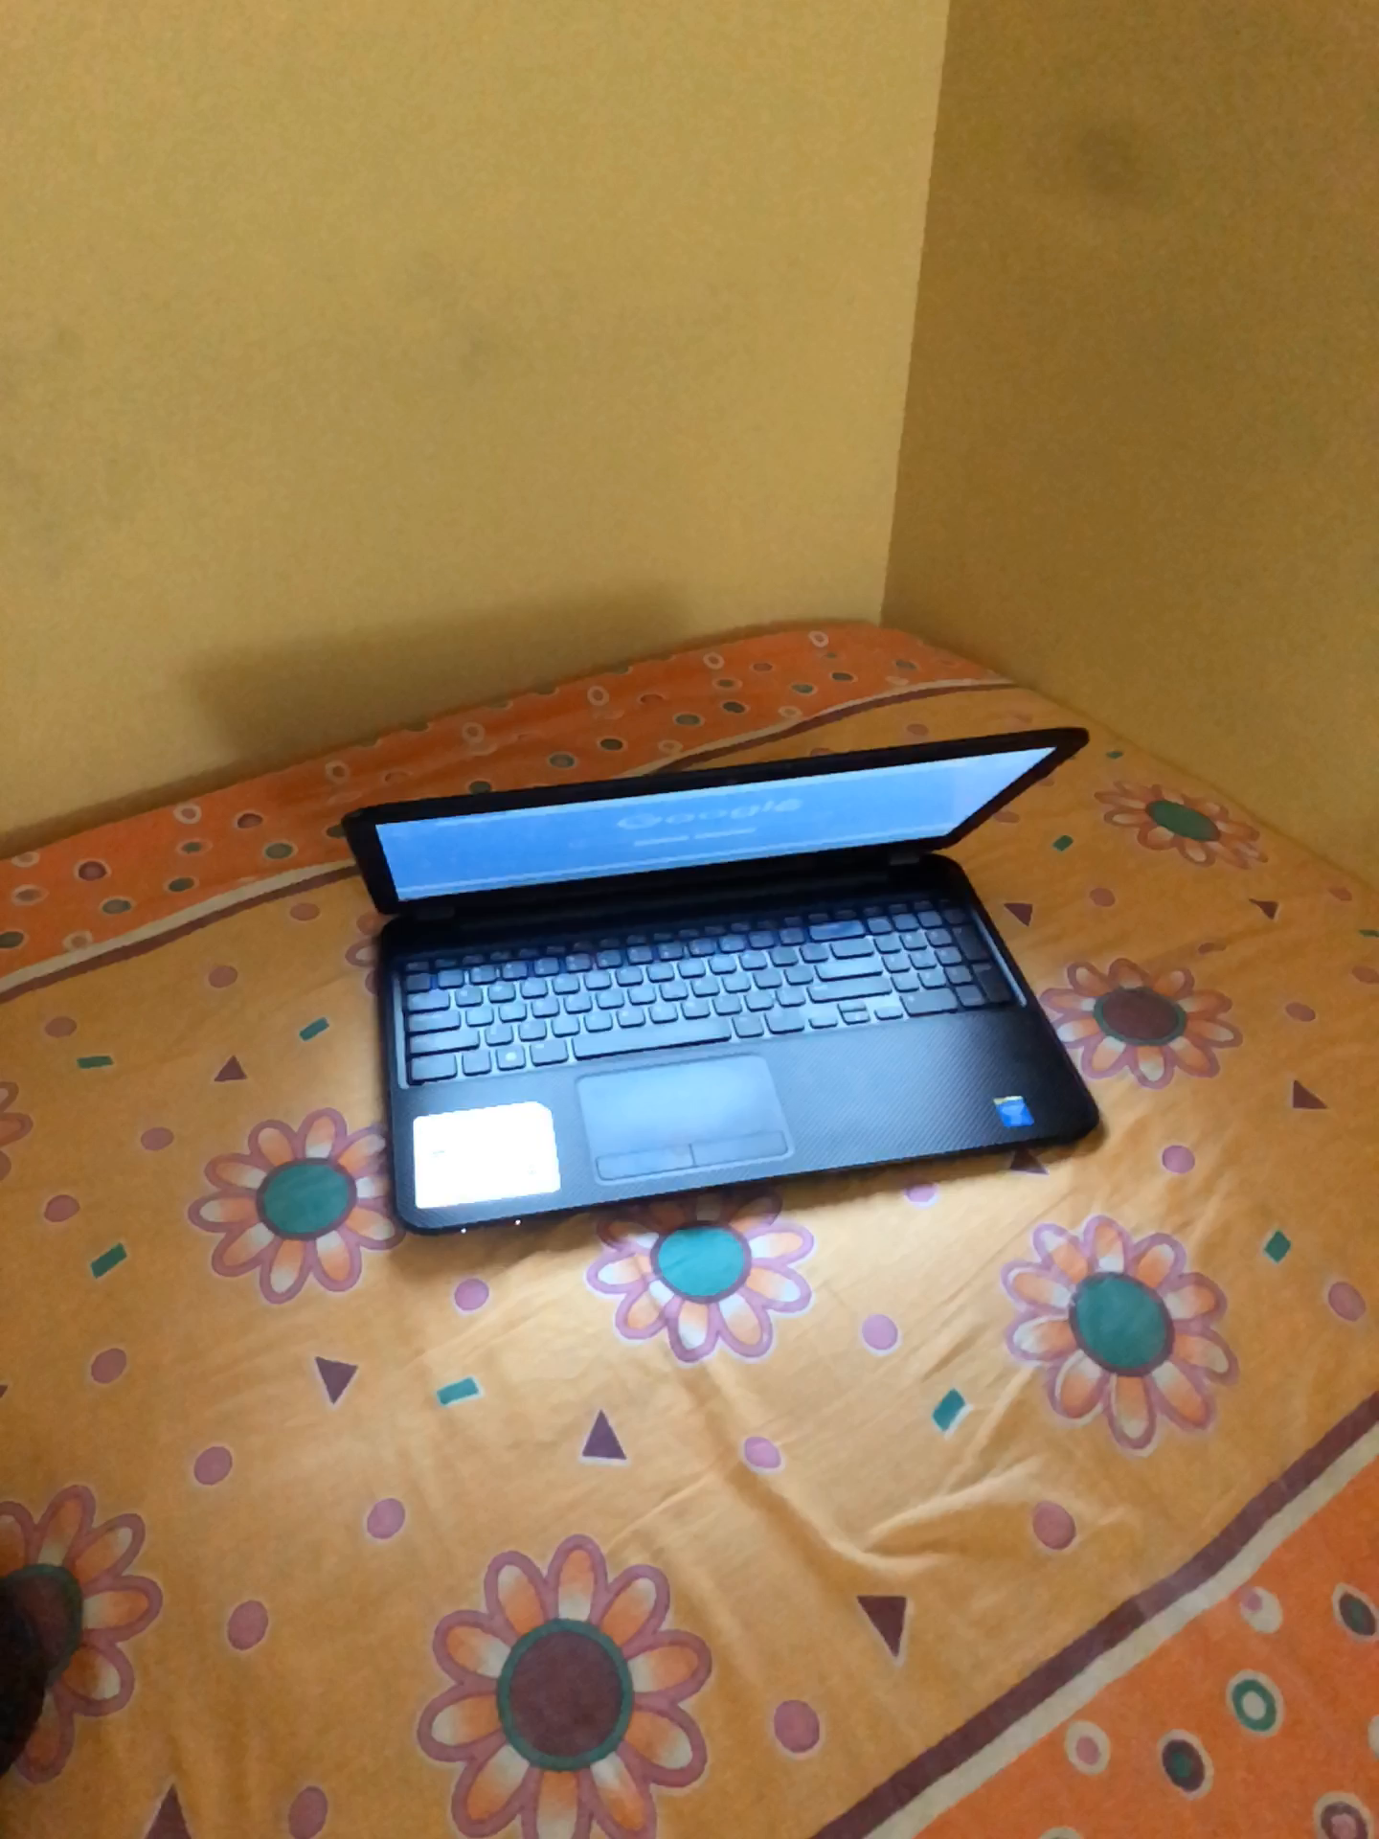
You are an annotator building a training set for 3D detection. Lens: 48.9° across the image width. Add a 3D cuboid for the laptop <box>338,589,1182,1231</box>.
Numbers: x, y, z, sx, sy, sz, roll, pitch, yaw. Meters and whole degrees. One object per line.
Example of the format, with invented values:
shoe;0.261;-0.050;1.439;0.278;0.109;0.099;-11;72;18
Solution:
laptop;0.016;-0.017;0.802;0.366;0.190;0.239;-7;40;-9
